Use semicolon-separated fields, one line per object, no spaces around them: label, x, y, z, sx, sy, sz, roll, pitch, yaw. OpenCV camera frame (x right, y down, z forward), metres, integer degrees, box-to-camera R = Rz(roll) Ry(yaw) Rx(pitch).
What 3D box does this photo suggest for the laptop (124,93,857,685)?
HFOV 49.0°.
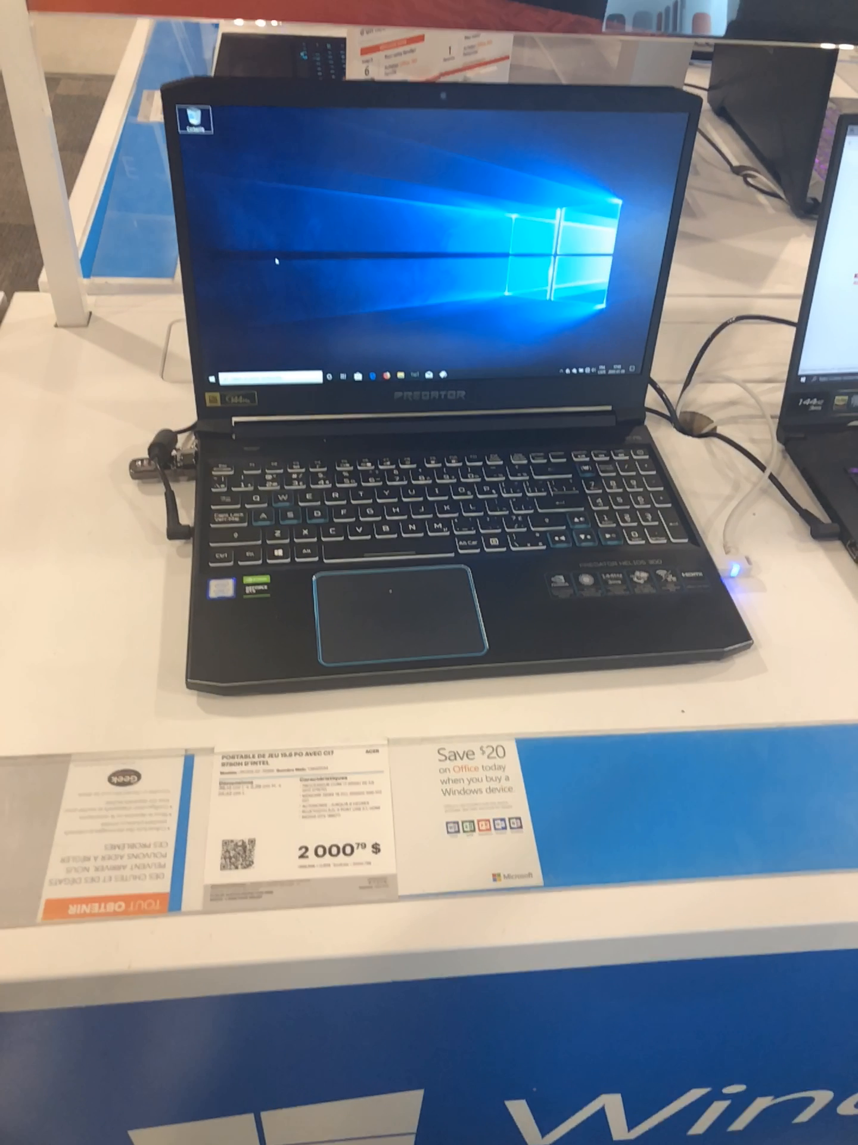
laptop;0.022;-0.125;0.589;0.348;0.230;0.274;-3;46;-7
